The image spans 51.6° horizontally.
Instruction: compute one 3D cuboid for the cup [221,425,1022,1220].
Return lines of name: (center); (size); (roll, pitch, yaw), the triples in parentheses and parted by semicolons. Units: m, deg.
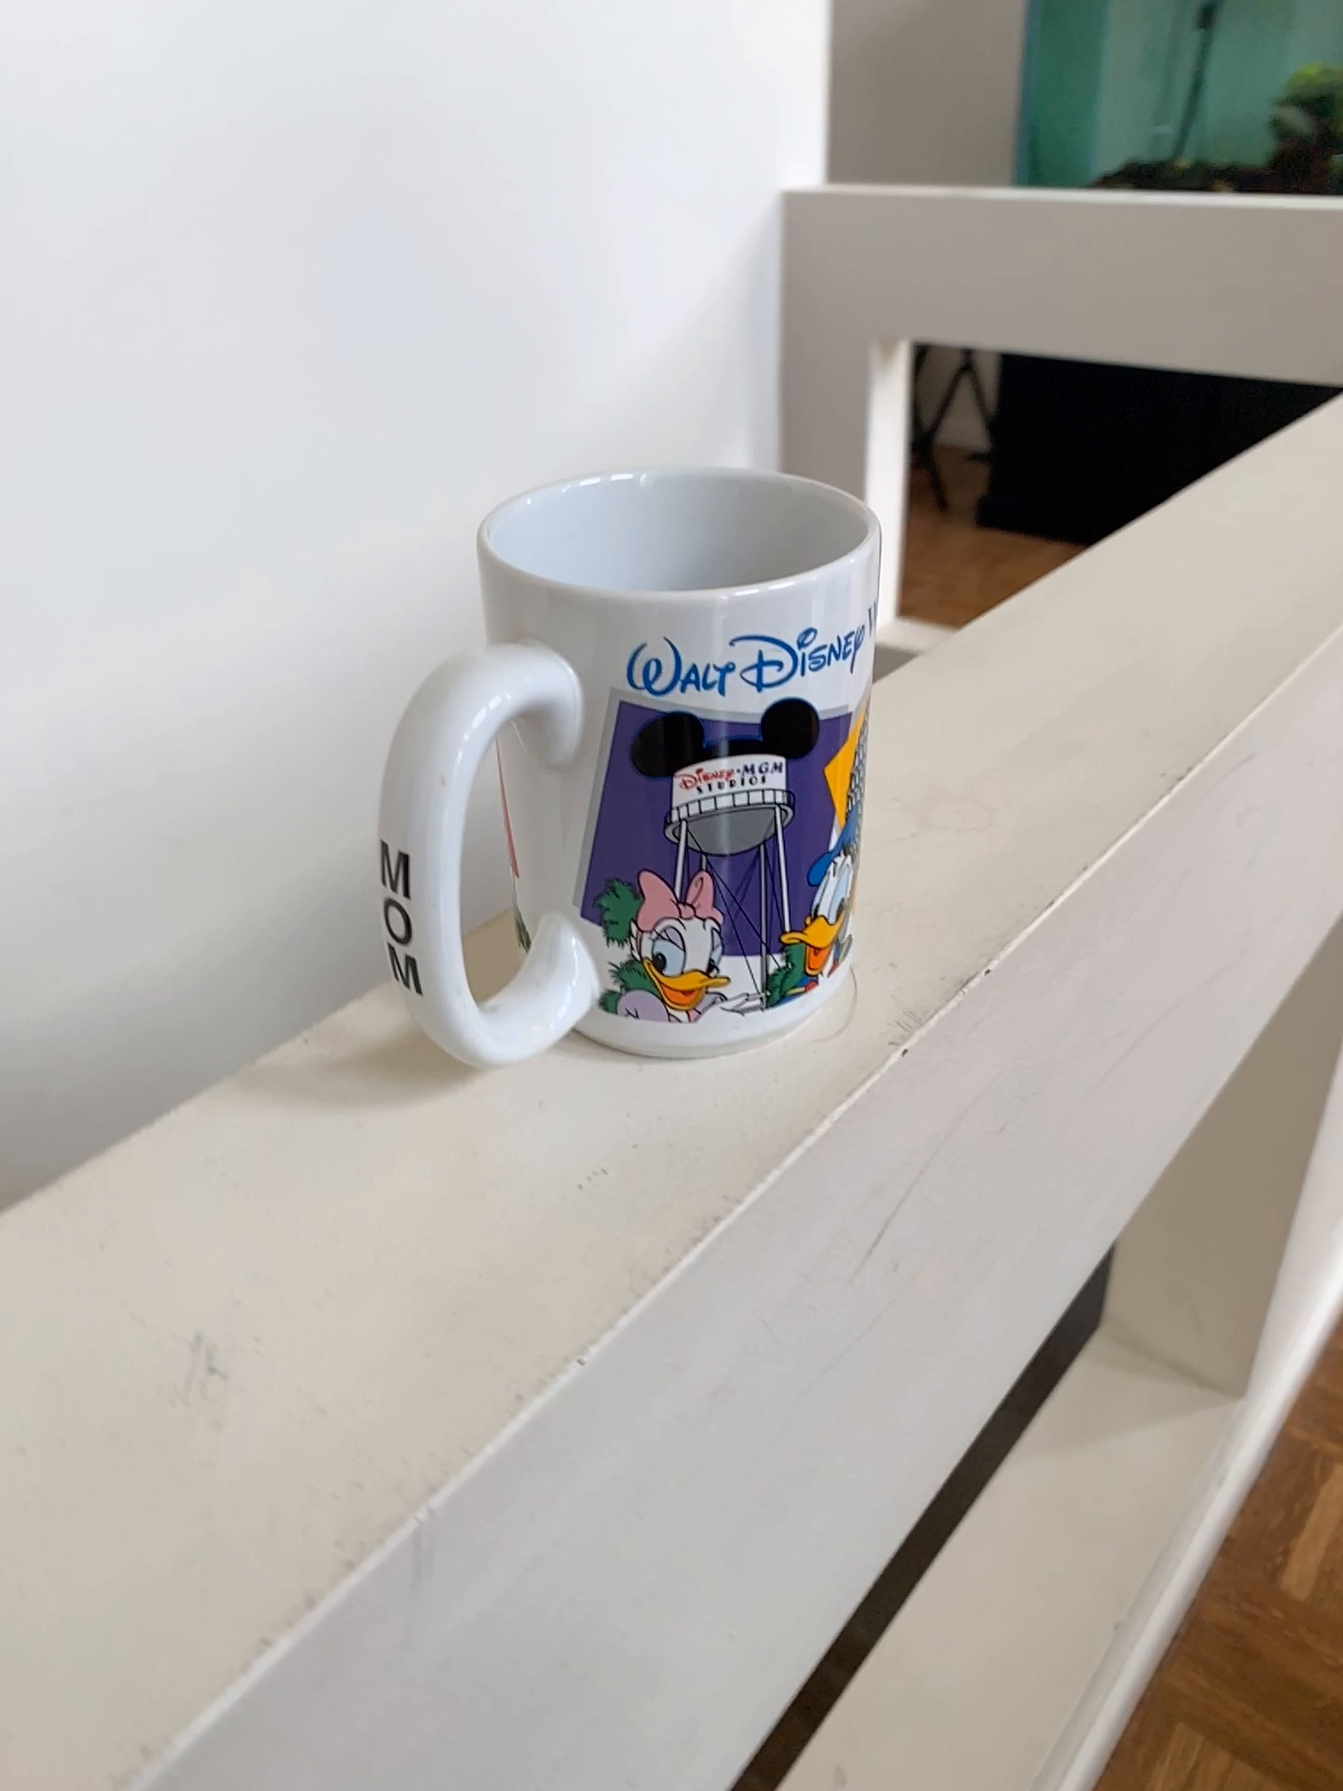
cup: (-0.004, -0.027, 0.301); (0.140, 0.109, 0.080); (-28, 40, -36)
